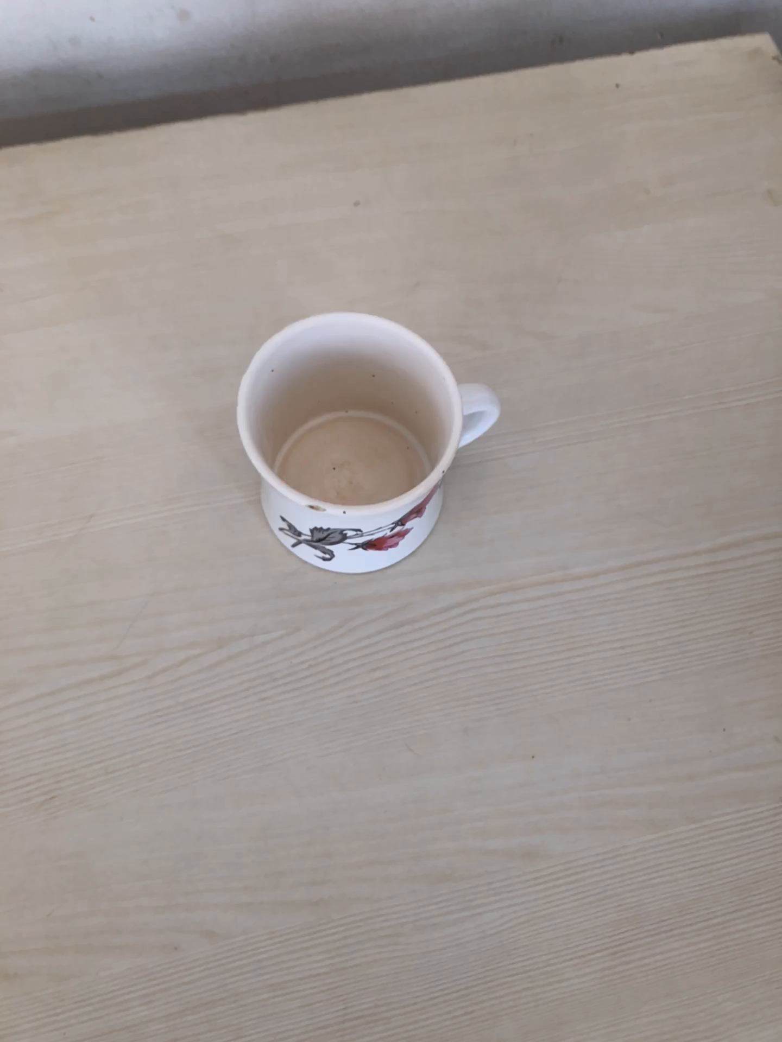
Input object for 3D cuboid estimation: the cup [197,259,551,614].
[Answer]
[{"bbox_3d":[-0.008,-0.027,0.303,0.090,0.070,0.080,-16,70,-8],"label":"cup"}]
